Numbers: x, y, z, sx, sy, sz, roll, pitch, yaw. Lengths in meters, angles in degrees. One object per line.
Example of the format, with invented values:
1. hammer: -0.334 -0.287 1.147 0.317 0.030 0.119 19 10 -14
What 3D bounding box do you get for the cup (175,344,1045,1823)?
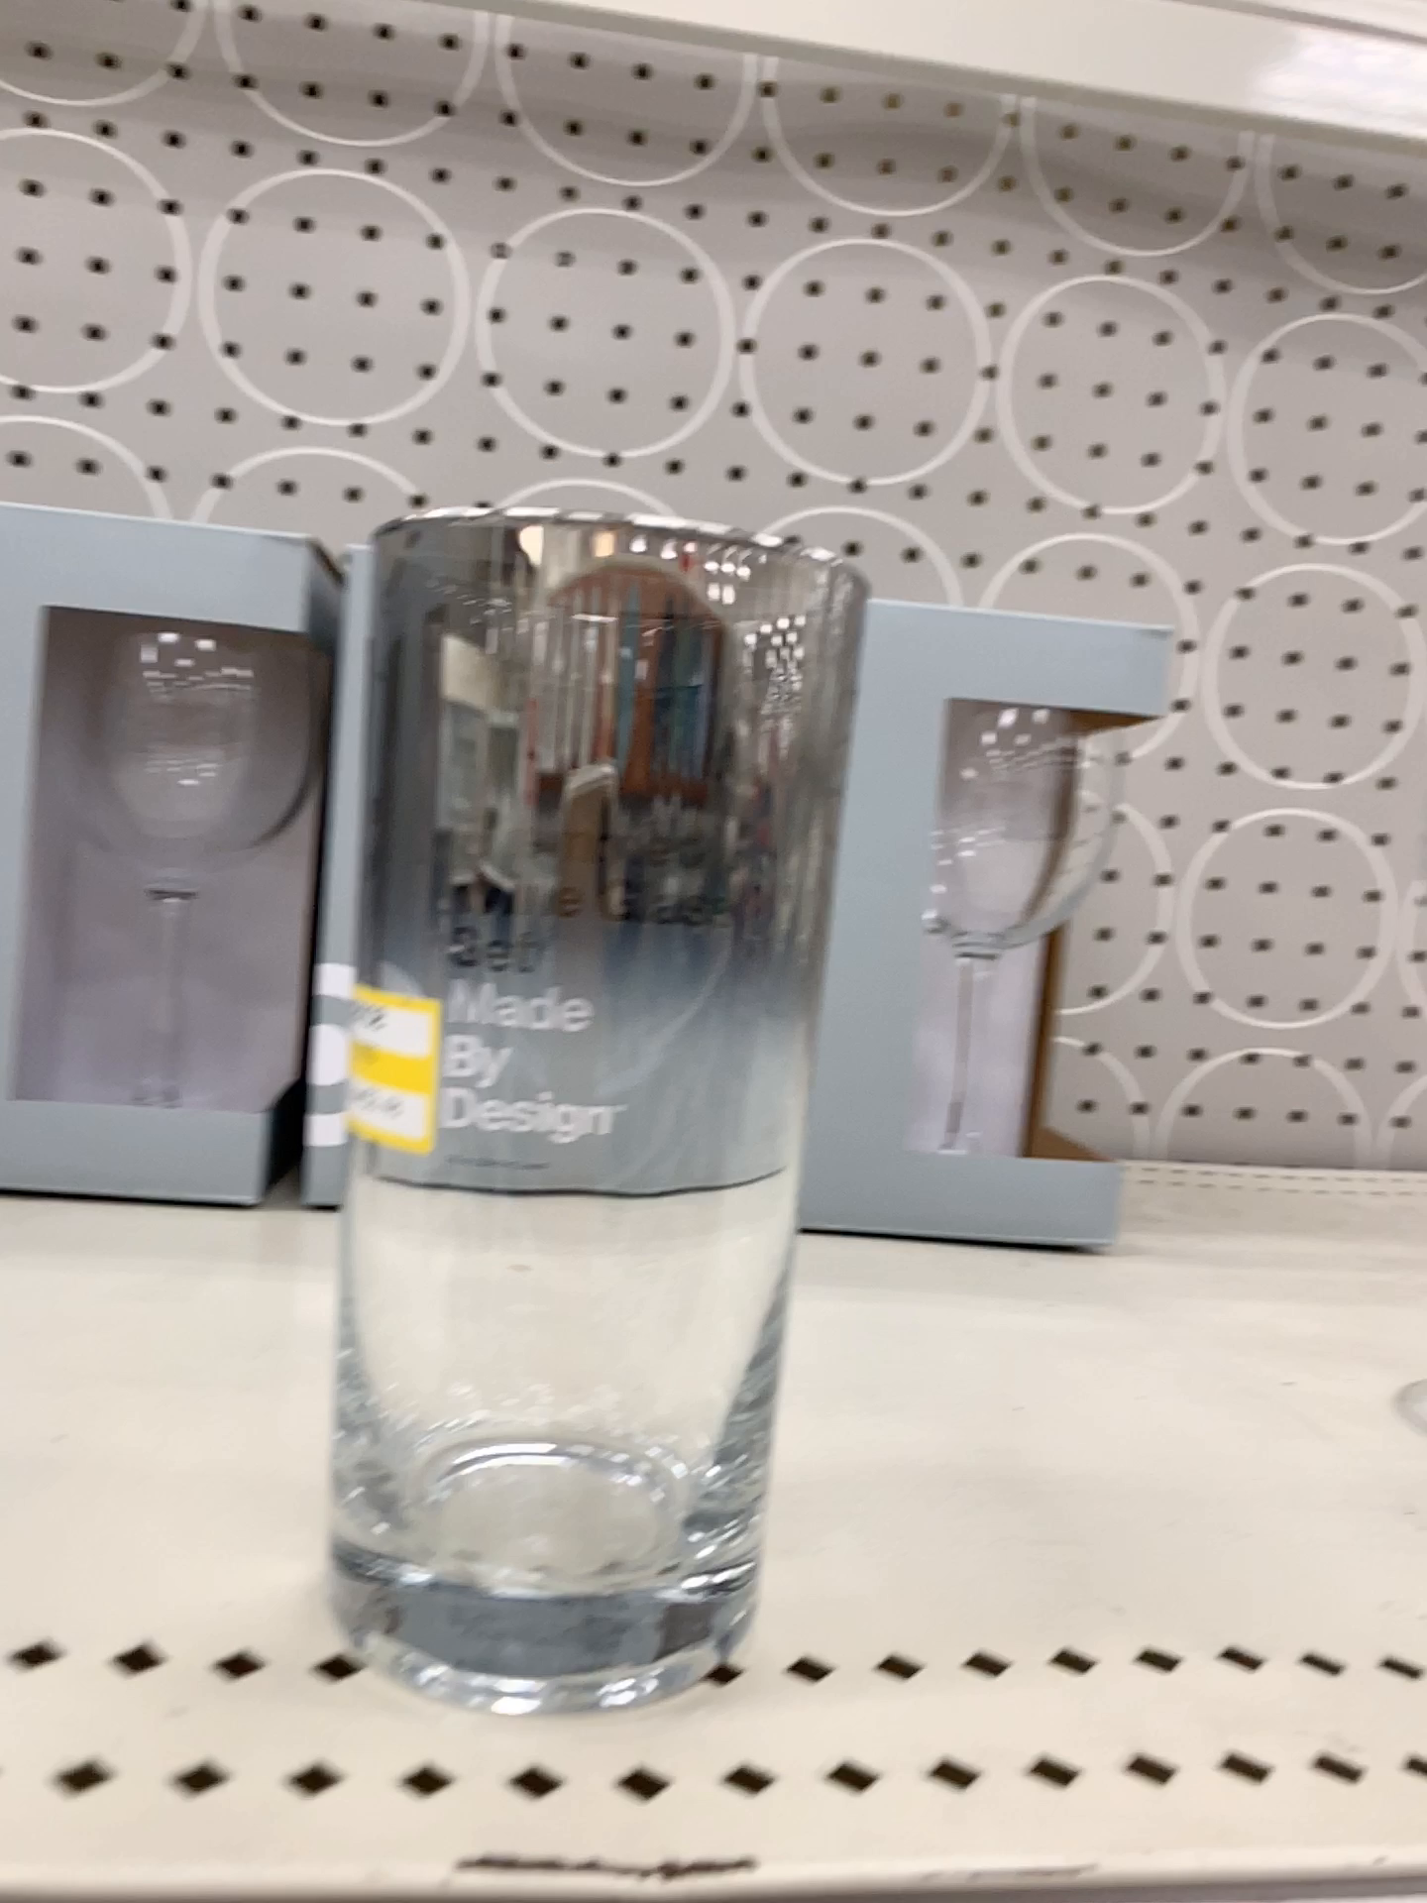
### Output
1. cup: -0.019 0.012 0.203 0.080 0.150 0.080 5 4 0
